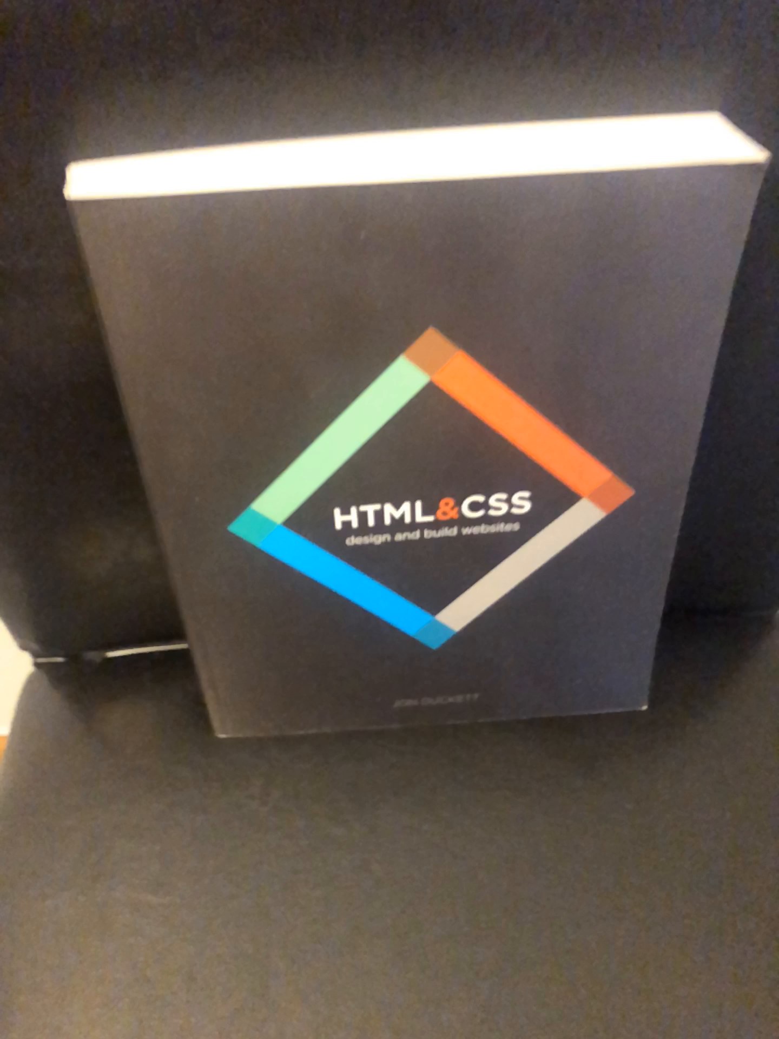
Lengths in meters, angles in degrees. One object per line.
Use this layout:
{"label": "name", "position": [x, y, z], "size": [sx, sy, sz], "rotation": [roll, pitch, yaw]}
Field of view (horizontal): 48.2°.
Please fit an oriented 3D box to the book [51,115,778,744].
{"label": "book", "position": [0.012, -0.010, 0.307], "size": [0.188, 0.230, 0.030], "rotation": [-4, 39, -1]}
